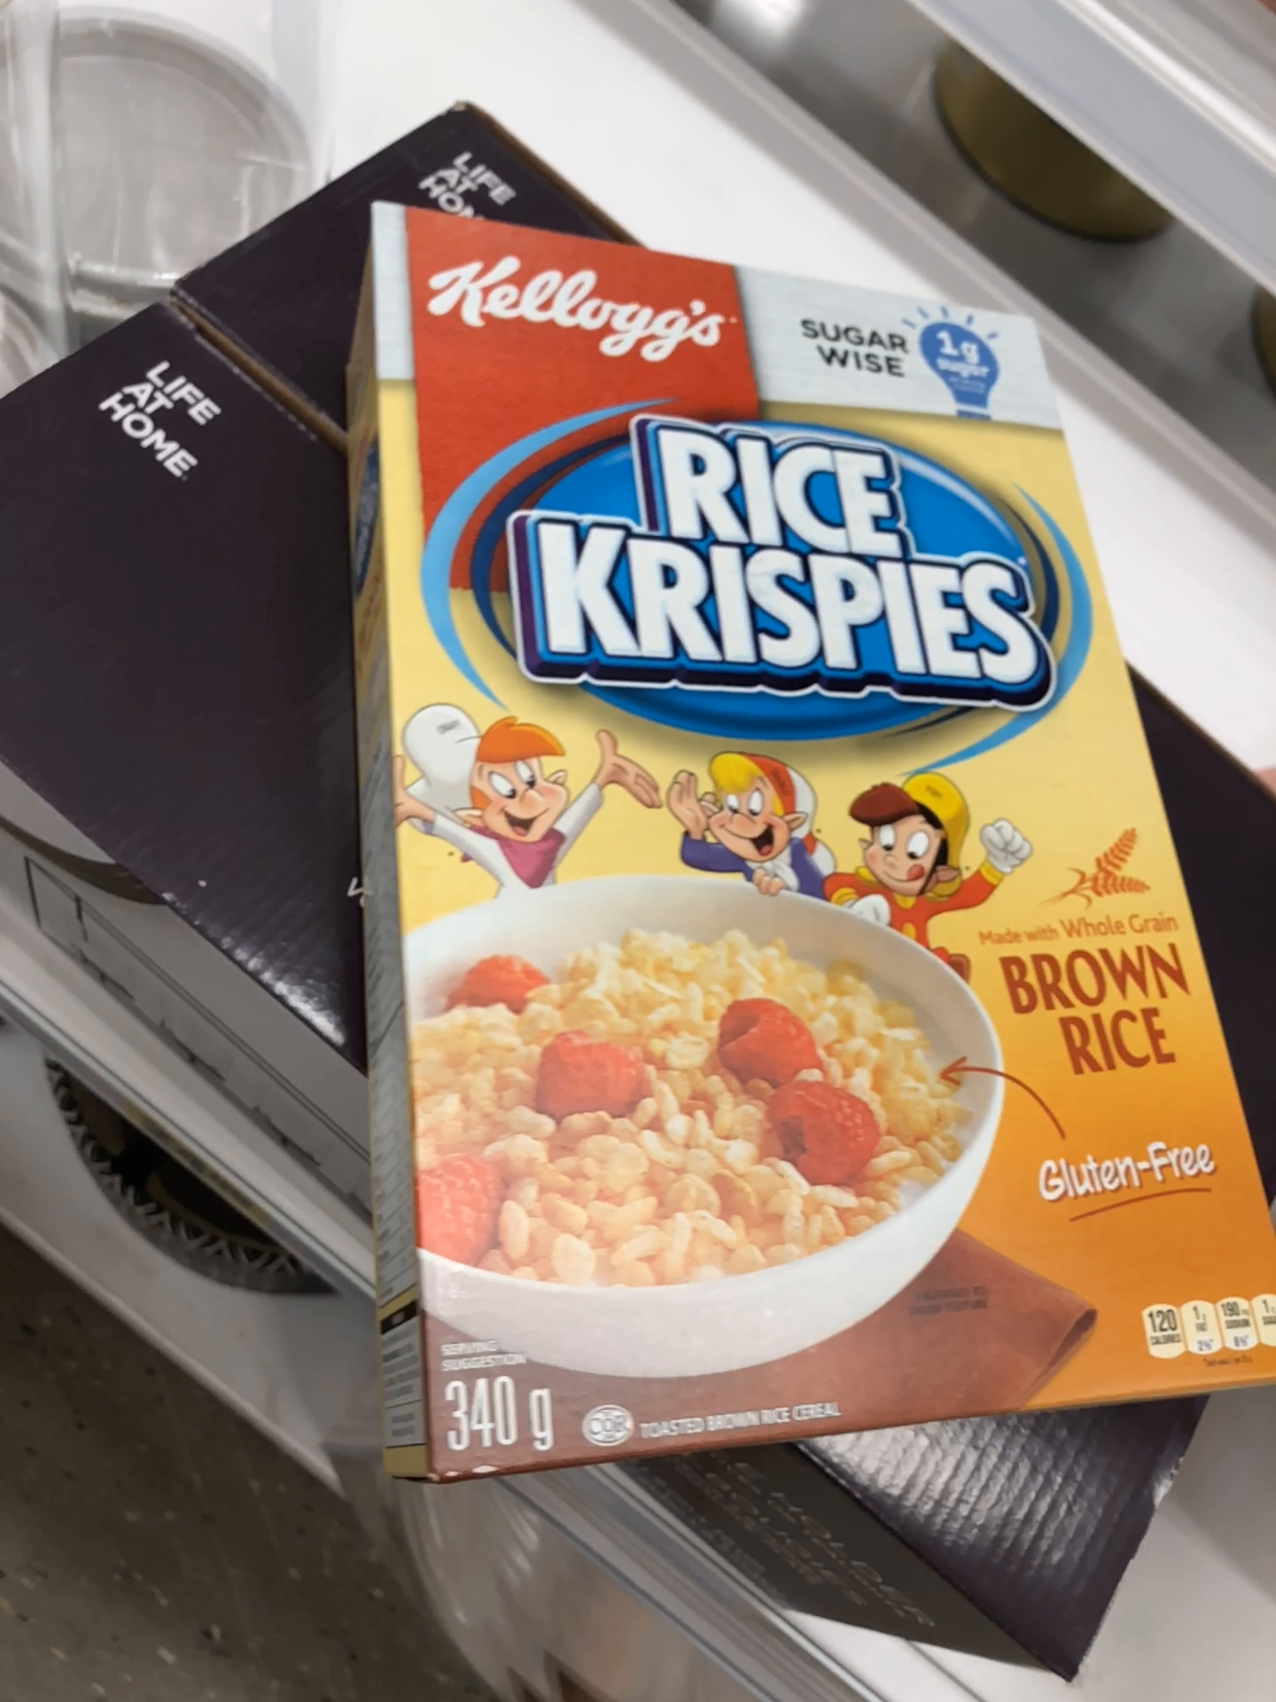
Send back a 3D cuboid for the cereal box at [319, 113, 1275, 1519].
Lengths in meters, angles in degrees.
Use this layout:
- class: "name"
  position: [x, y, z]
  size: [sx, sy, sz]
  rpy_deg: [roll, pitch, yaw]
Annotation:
- class: "cereal box"
  position: [0.037, -0.017, 0.373]
  size: [0.220, 0.070, 0.330]
  rpy_deg: [5, 65, -21]
